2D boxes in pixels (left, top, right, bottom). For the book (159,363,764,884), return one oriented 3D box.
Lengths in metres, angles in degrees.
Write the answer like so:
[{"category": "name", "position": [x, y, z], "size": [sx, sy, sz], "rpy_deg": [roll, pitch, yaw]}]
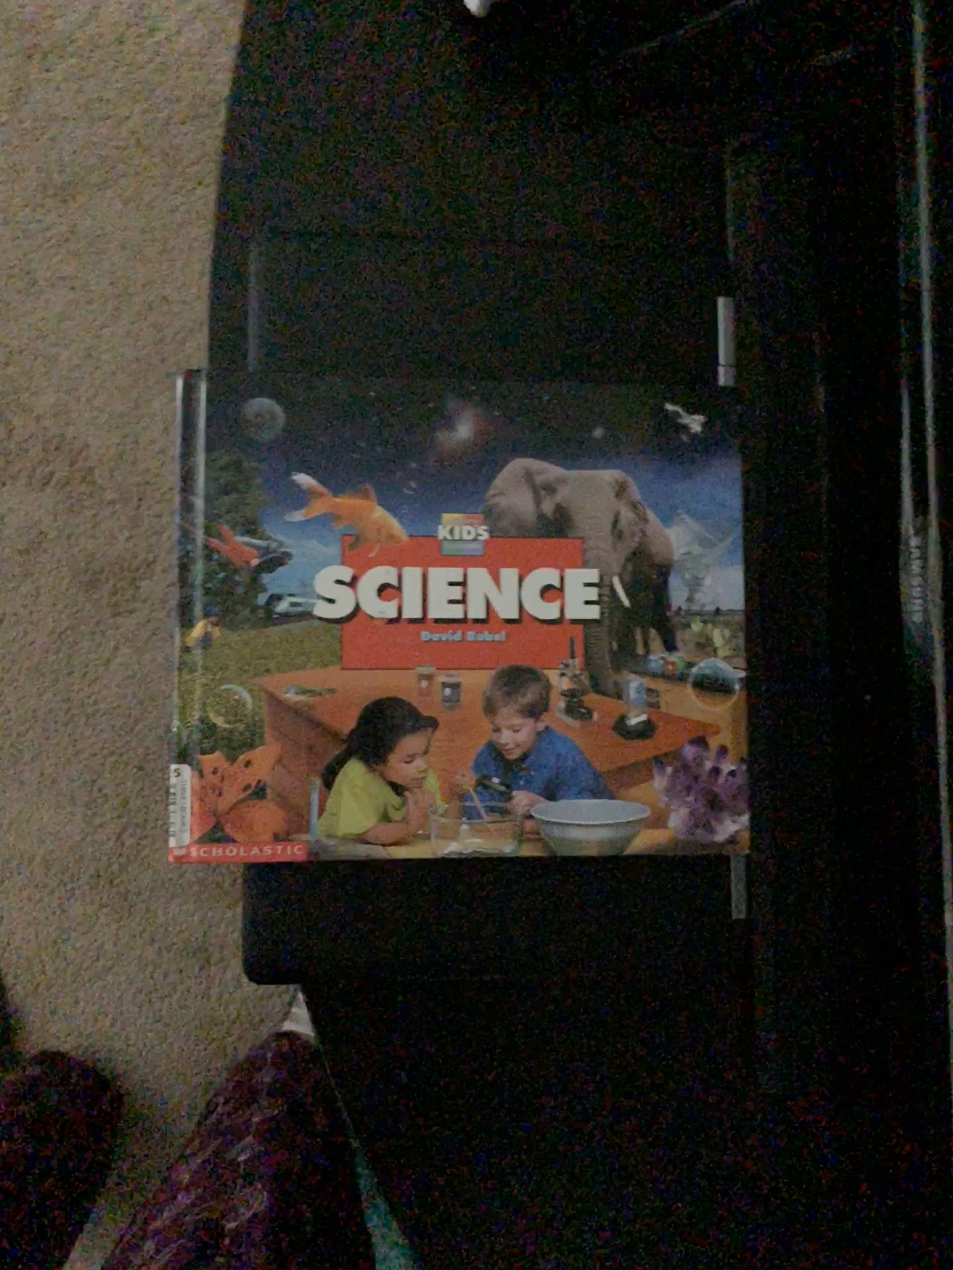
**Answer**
[{"category": "book", "position": [-0.005, -0.005, 0.476], "size": [0.280, 0.030, 0.240], "rpy_deg": [0, 86, -5]}]
